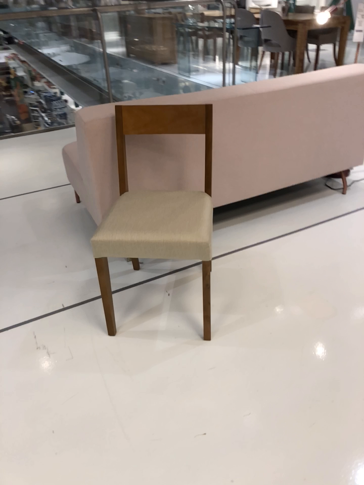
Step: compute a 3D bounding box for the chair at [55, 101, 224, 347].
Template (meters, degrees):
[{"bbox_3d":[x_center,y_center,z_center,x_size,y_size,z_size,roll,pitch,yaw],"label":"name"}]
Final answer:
[{"bbox_3d":[-0.090,-0.095,1.662,0.490,0.814,0.595,2,32,9],"label":"chair"}]
